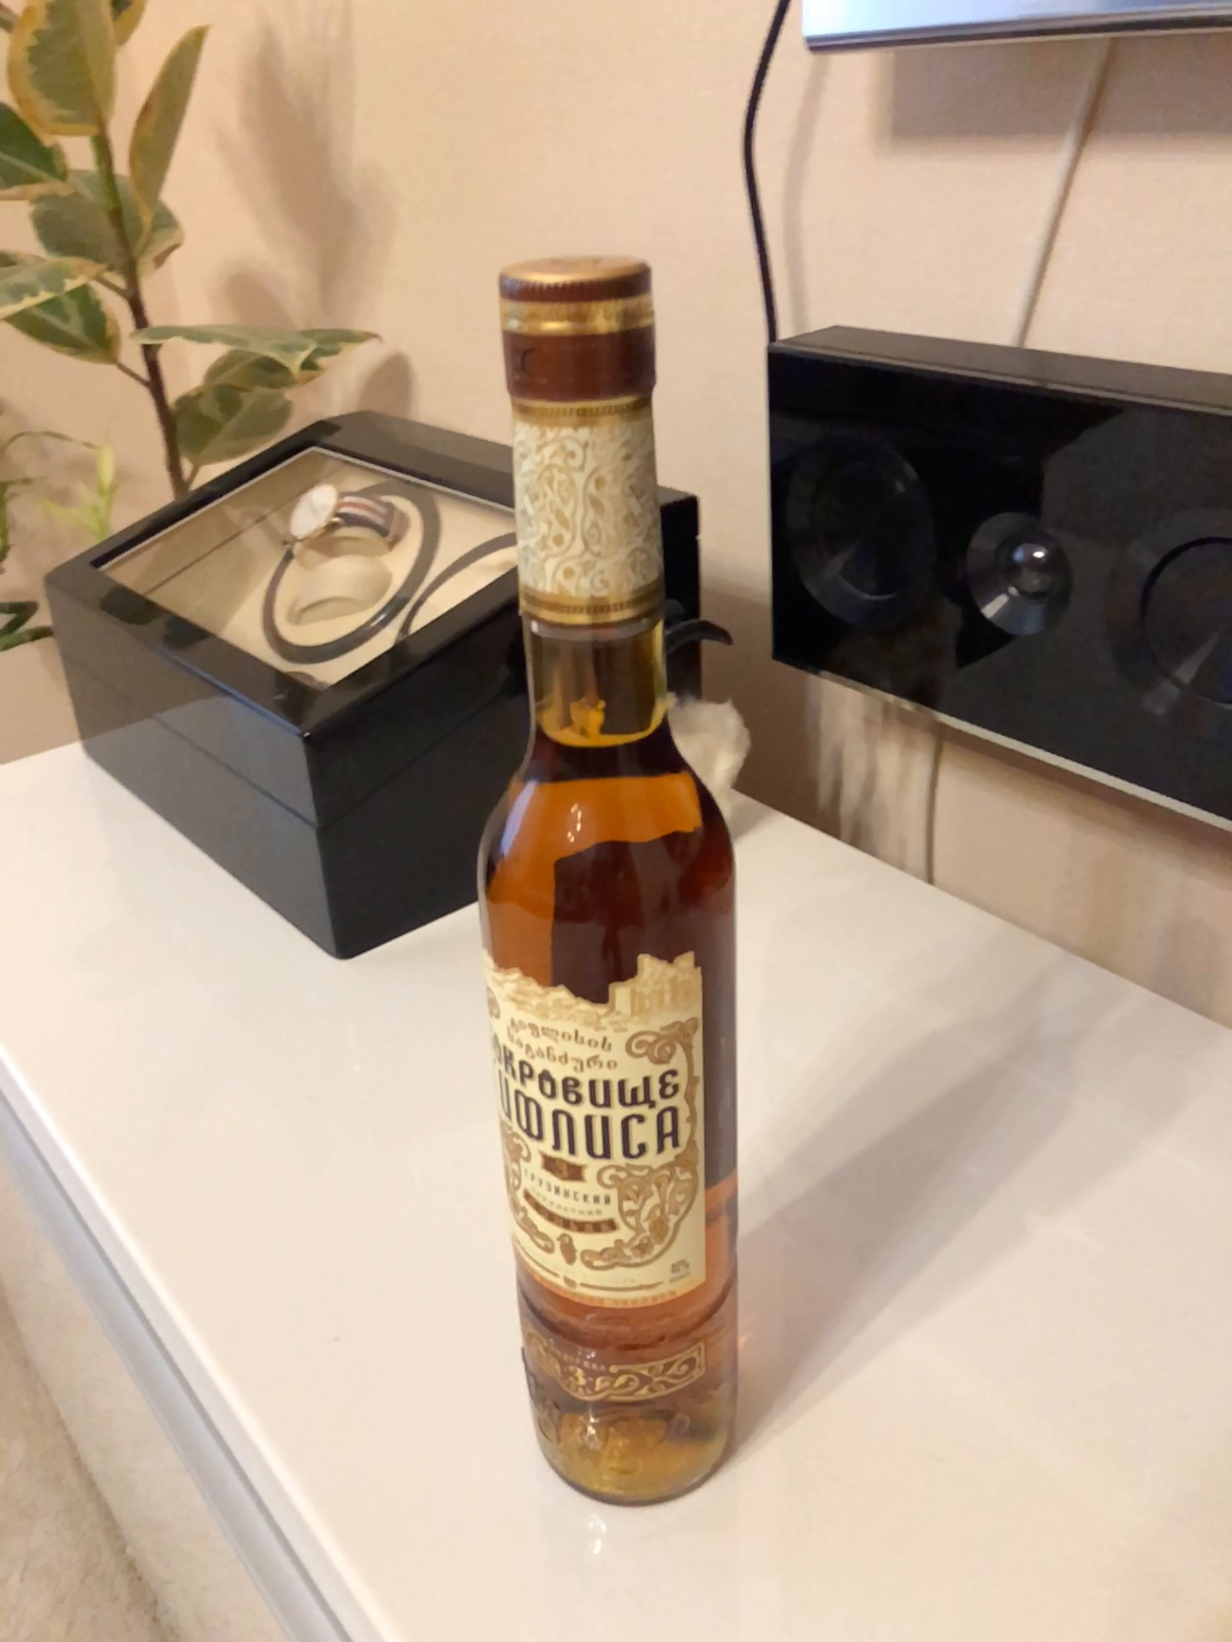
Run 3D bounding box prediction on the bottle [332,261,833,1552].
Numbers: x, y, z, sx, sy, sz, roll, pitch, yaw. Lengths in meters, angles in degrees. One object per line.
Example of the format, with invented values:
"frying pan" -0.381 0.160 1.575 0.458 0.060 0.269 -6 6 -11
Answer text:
"bottle" 0.003 0.035 0.327 0.070 0.308 0.070 -2 28 1
